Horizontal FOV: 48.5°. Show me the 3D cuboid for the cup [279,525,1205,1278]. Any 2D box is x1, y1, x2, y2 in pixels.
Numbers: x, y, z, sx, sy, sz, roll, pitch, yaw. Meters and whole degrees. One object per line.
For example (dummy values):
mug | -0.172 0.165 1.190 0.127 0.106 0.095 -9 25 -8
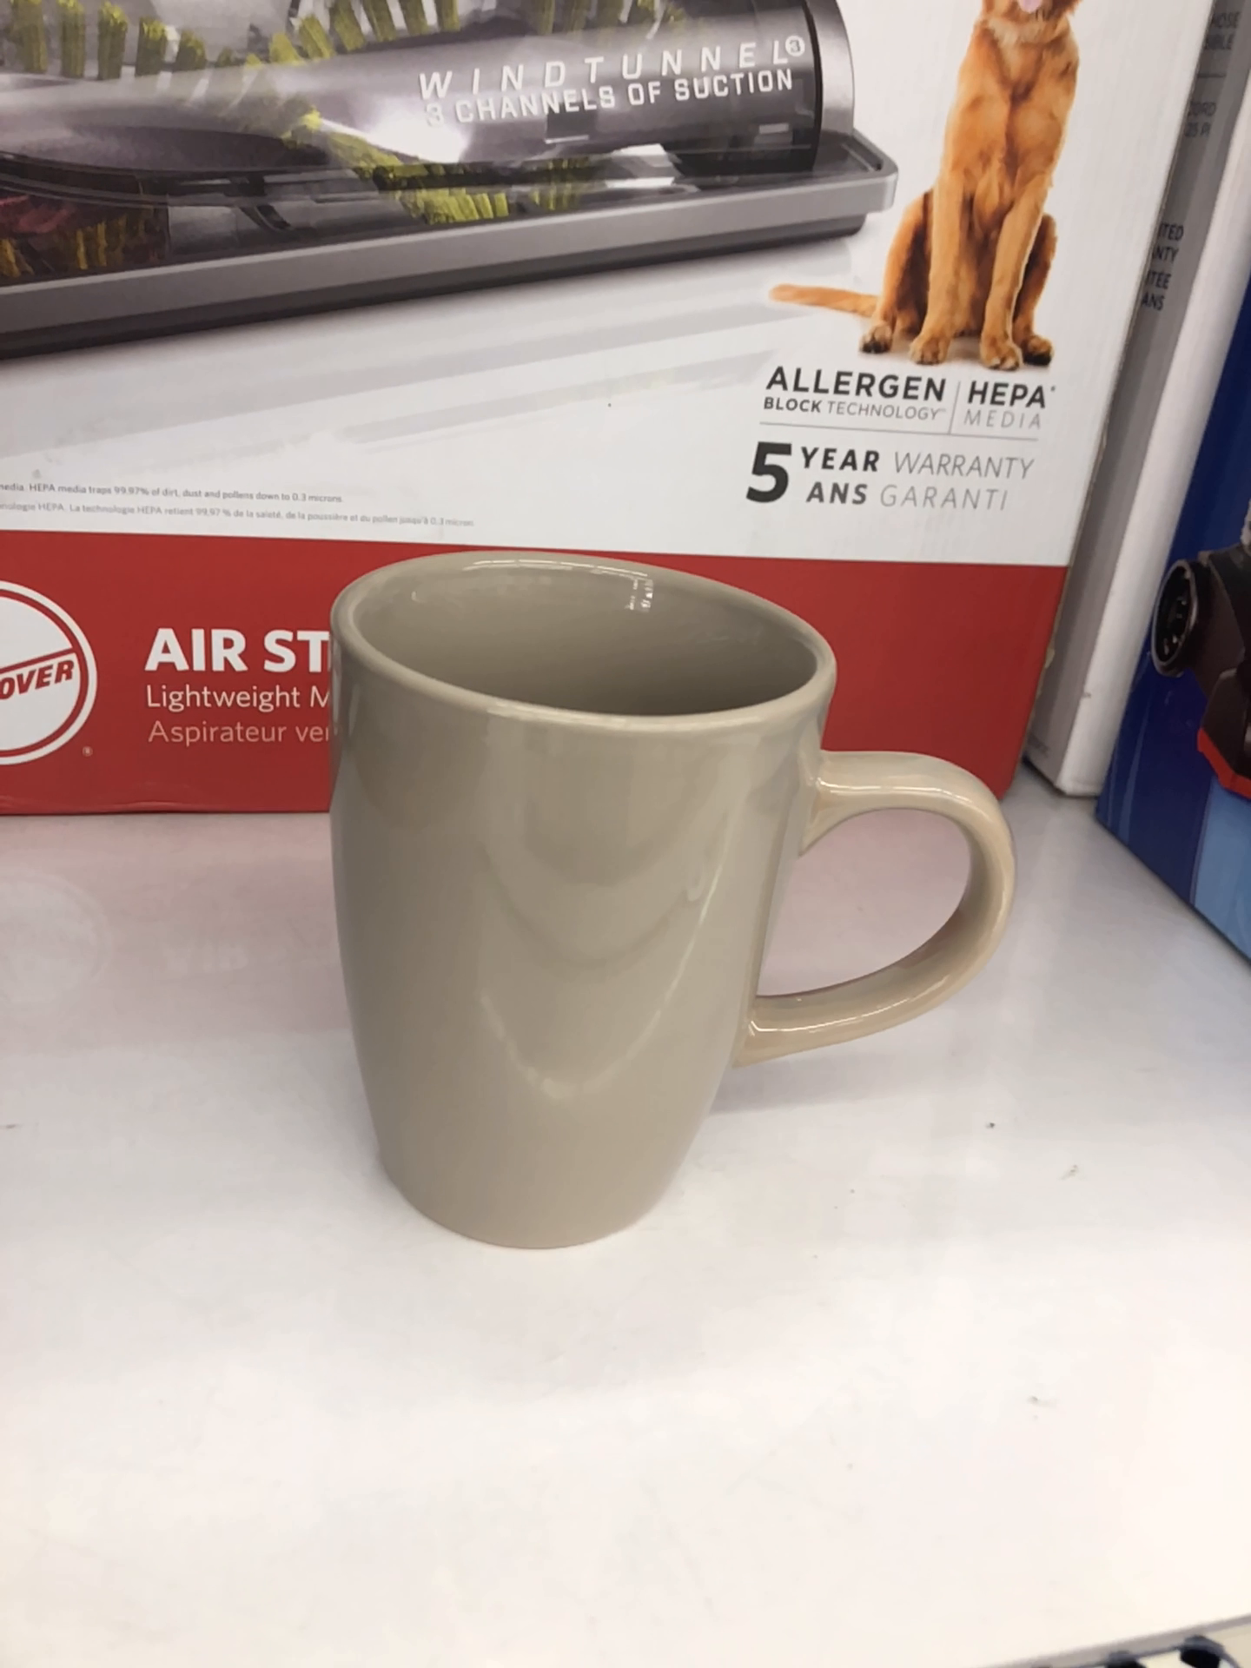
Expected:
cup | 0.010 0.009 0.244 0.125 0.092 0.088 4 27 -7
